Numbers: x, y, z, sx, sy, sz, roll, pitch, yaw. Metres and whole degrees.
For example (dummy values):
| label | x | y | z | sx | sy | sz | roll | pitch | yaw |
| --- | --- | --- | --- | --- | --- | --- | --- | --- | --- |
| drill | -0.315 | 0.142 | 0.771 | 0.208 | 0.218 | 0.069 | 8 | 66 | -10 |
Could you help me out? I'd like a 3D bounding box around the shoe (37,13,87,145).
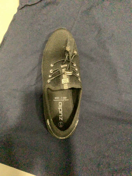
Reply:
| label | x | y | z | sx | sy | sz | roll | pitch | yaw |
| --- | --- | --- | --- | --- | --- | --- | --- | --- | --- |
| shoe | -0.014 | -0.024 | 0.339 | 0.100 | 0.090 | 0.290 | -1 | 83 | -2 |
